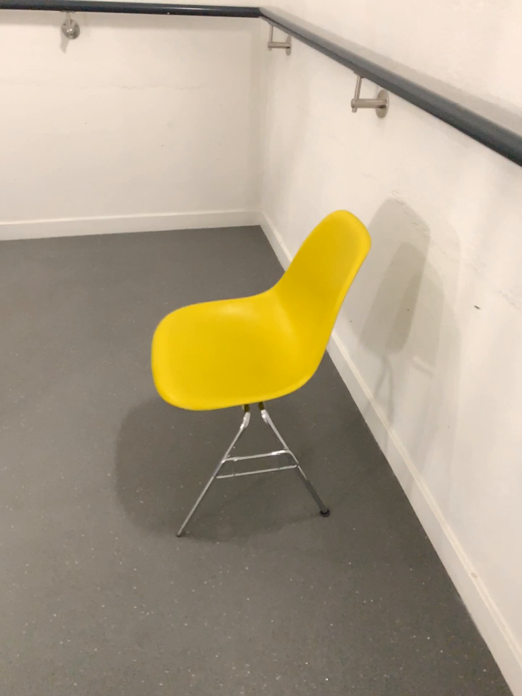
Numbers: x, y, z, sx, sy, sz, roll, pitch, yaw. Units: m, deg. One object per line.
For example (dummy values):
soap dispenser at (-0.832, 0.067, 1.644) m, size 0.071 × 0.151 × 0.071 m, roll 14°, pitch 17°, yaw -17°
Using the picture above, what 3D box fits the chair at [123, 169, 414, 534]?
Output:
chair at (-0.051, -0.016, 1.449) m, size 0.560 × 0.732 × 0.626 m, roll -4°, pitch 38°, yaw -11°
